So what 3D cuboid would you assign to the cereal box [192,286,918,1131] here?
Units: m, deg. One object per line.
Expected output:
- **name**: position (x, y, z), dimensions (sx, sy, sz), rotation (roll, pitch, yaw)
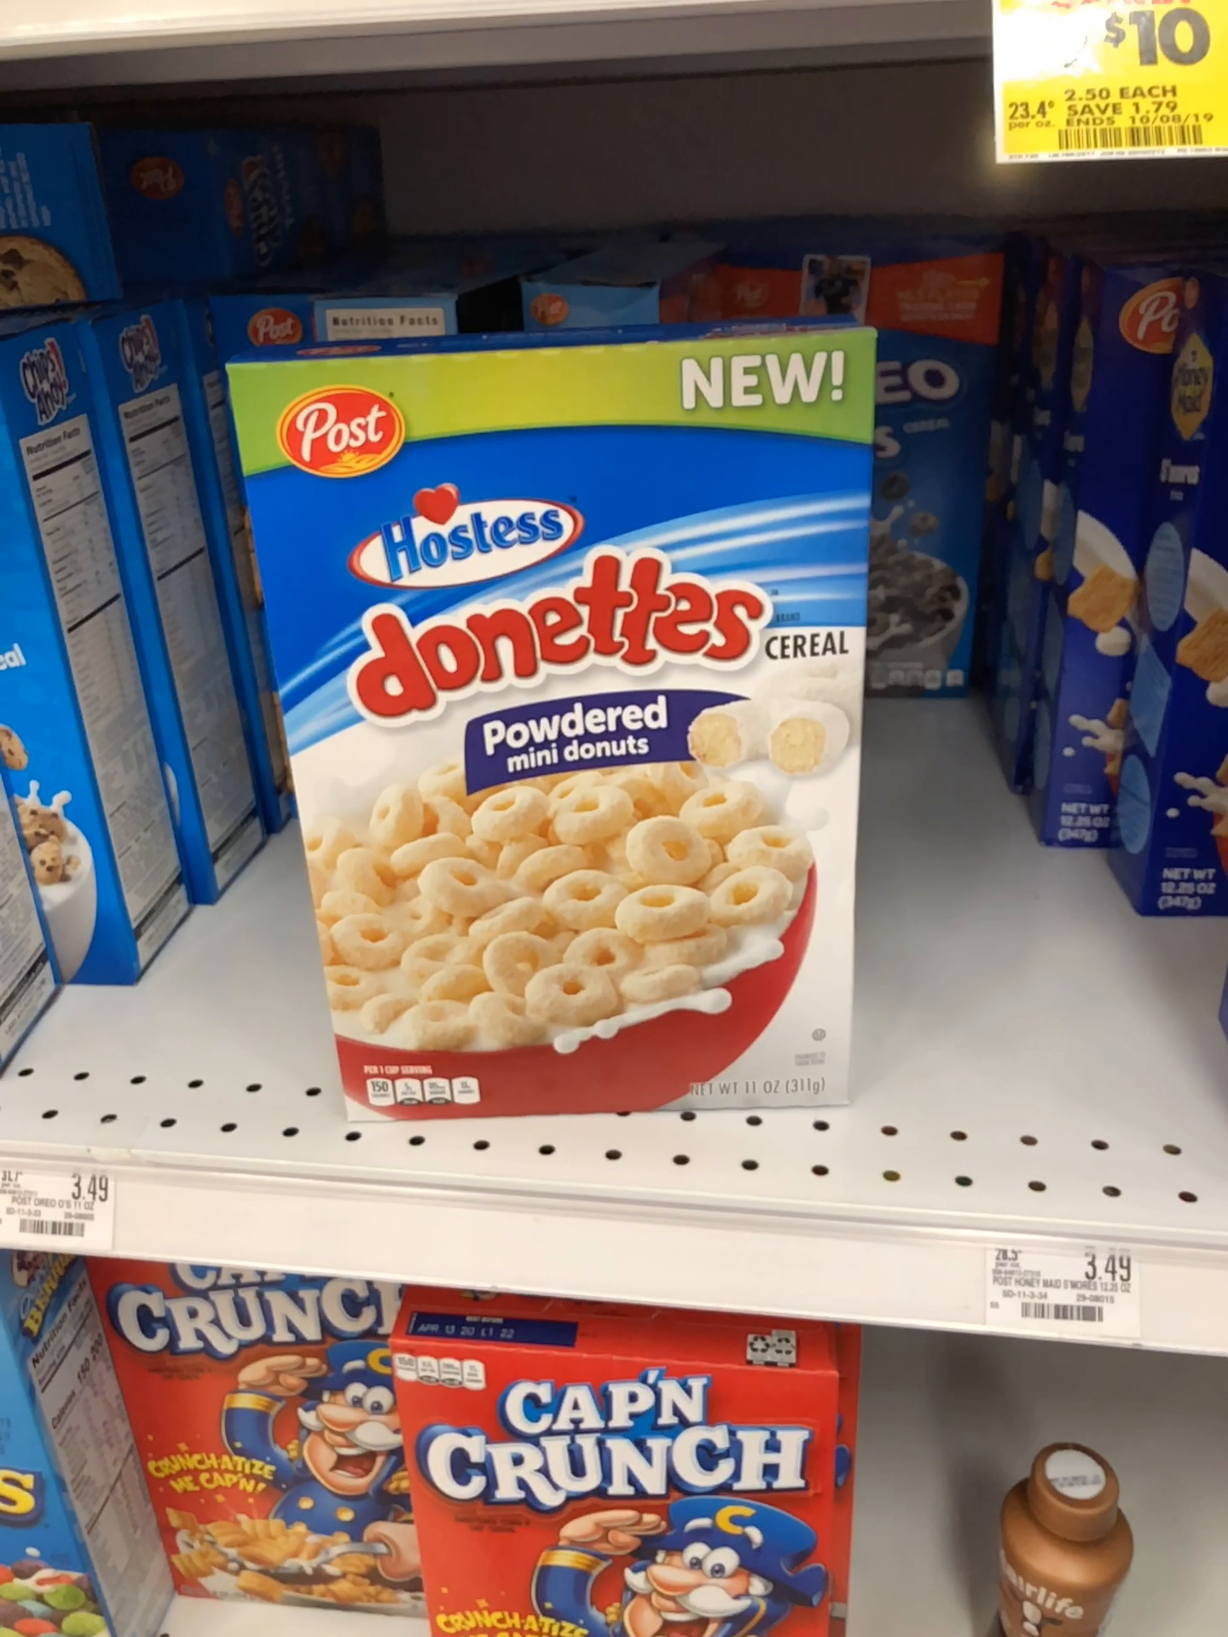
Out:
- **cereal box**: position (-0.010, -0.026, 0.439), dimensions (0.190, 0.259, 0.060), rotation (-2, 25, 2)
